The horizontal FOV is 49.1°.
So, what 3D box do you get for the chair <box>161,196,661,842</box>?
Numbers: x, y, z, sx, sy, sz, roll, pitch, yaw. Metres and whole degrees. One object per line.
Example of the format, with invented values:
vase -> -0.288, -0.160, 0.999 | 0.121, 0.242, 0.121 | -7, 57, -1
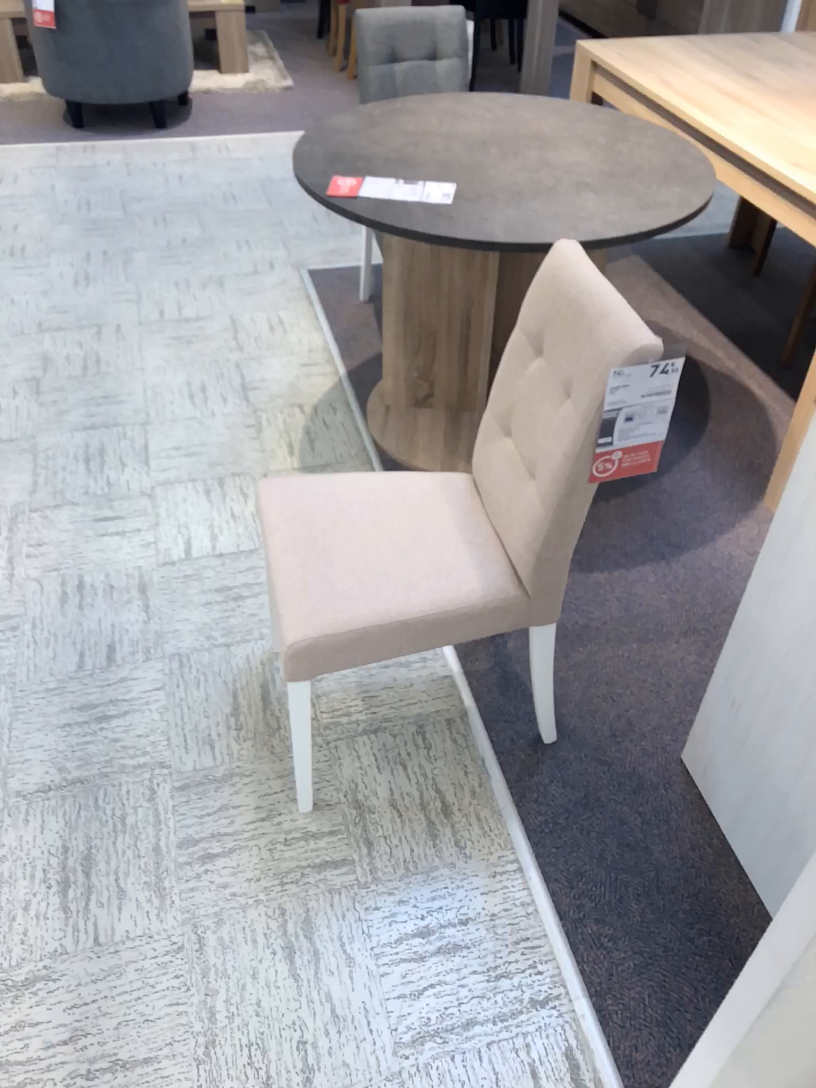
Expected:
chair -> -0.035, -0.012, 1.384 | 0.531, 0.855, 0.432 | -8, 42, -11
